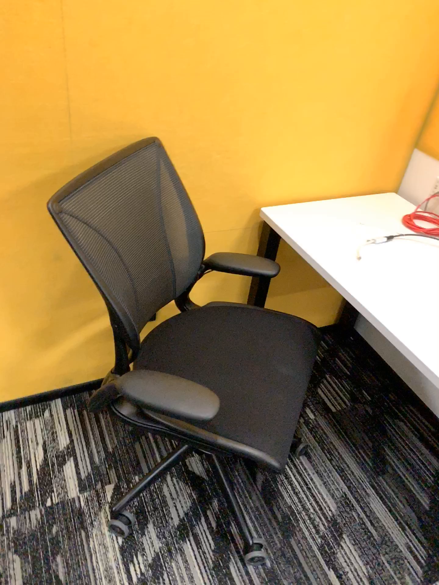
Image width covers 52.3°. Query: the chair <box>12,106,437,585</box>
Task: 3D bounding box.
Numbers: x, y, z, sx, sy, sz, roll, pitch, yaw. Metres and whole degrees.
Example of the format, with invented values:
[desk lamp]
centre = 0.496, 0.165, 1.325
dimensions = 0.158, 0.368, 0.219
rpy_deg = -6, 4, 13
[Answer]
[chair]
centre = 0.011, 0.113, 1.026
dimensions = 0.570, 0.813, 0.544
rpy_deg = 16, 37, 9
